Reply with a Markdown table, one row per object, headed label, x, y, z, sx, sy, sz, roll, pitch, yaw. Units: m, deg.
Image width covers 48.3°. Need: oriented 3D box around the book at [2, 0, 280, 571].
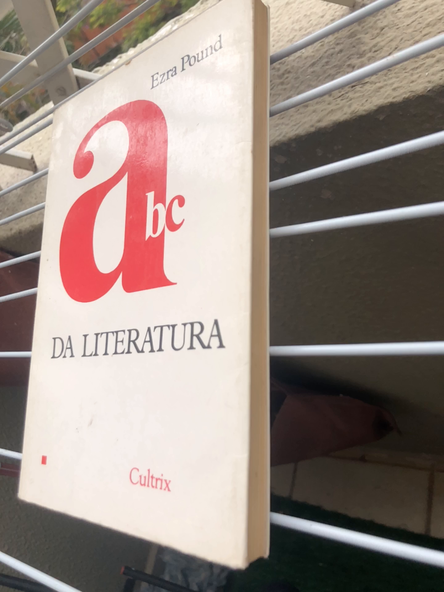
| label | x | y | z | sx | sy | sz | roll | pitch | yaw |
| --- | --- | --- | --- | --- | --- | --- | --- | --- | --- |
| book | -0.040 | -0.009 | 0.203 | 0.141 | 0.017 | 0.187 | -9 | 76 | 40 |
